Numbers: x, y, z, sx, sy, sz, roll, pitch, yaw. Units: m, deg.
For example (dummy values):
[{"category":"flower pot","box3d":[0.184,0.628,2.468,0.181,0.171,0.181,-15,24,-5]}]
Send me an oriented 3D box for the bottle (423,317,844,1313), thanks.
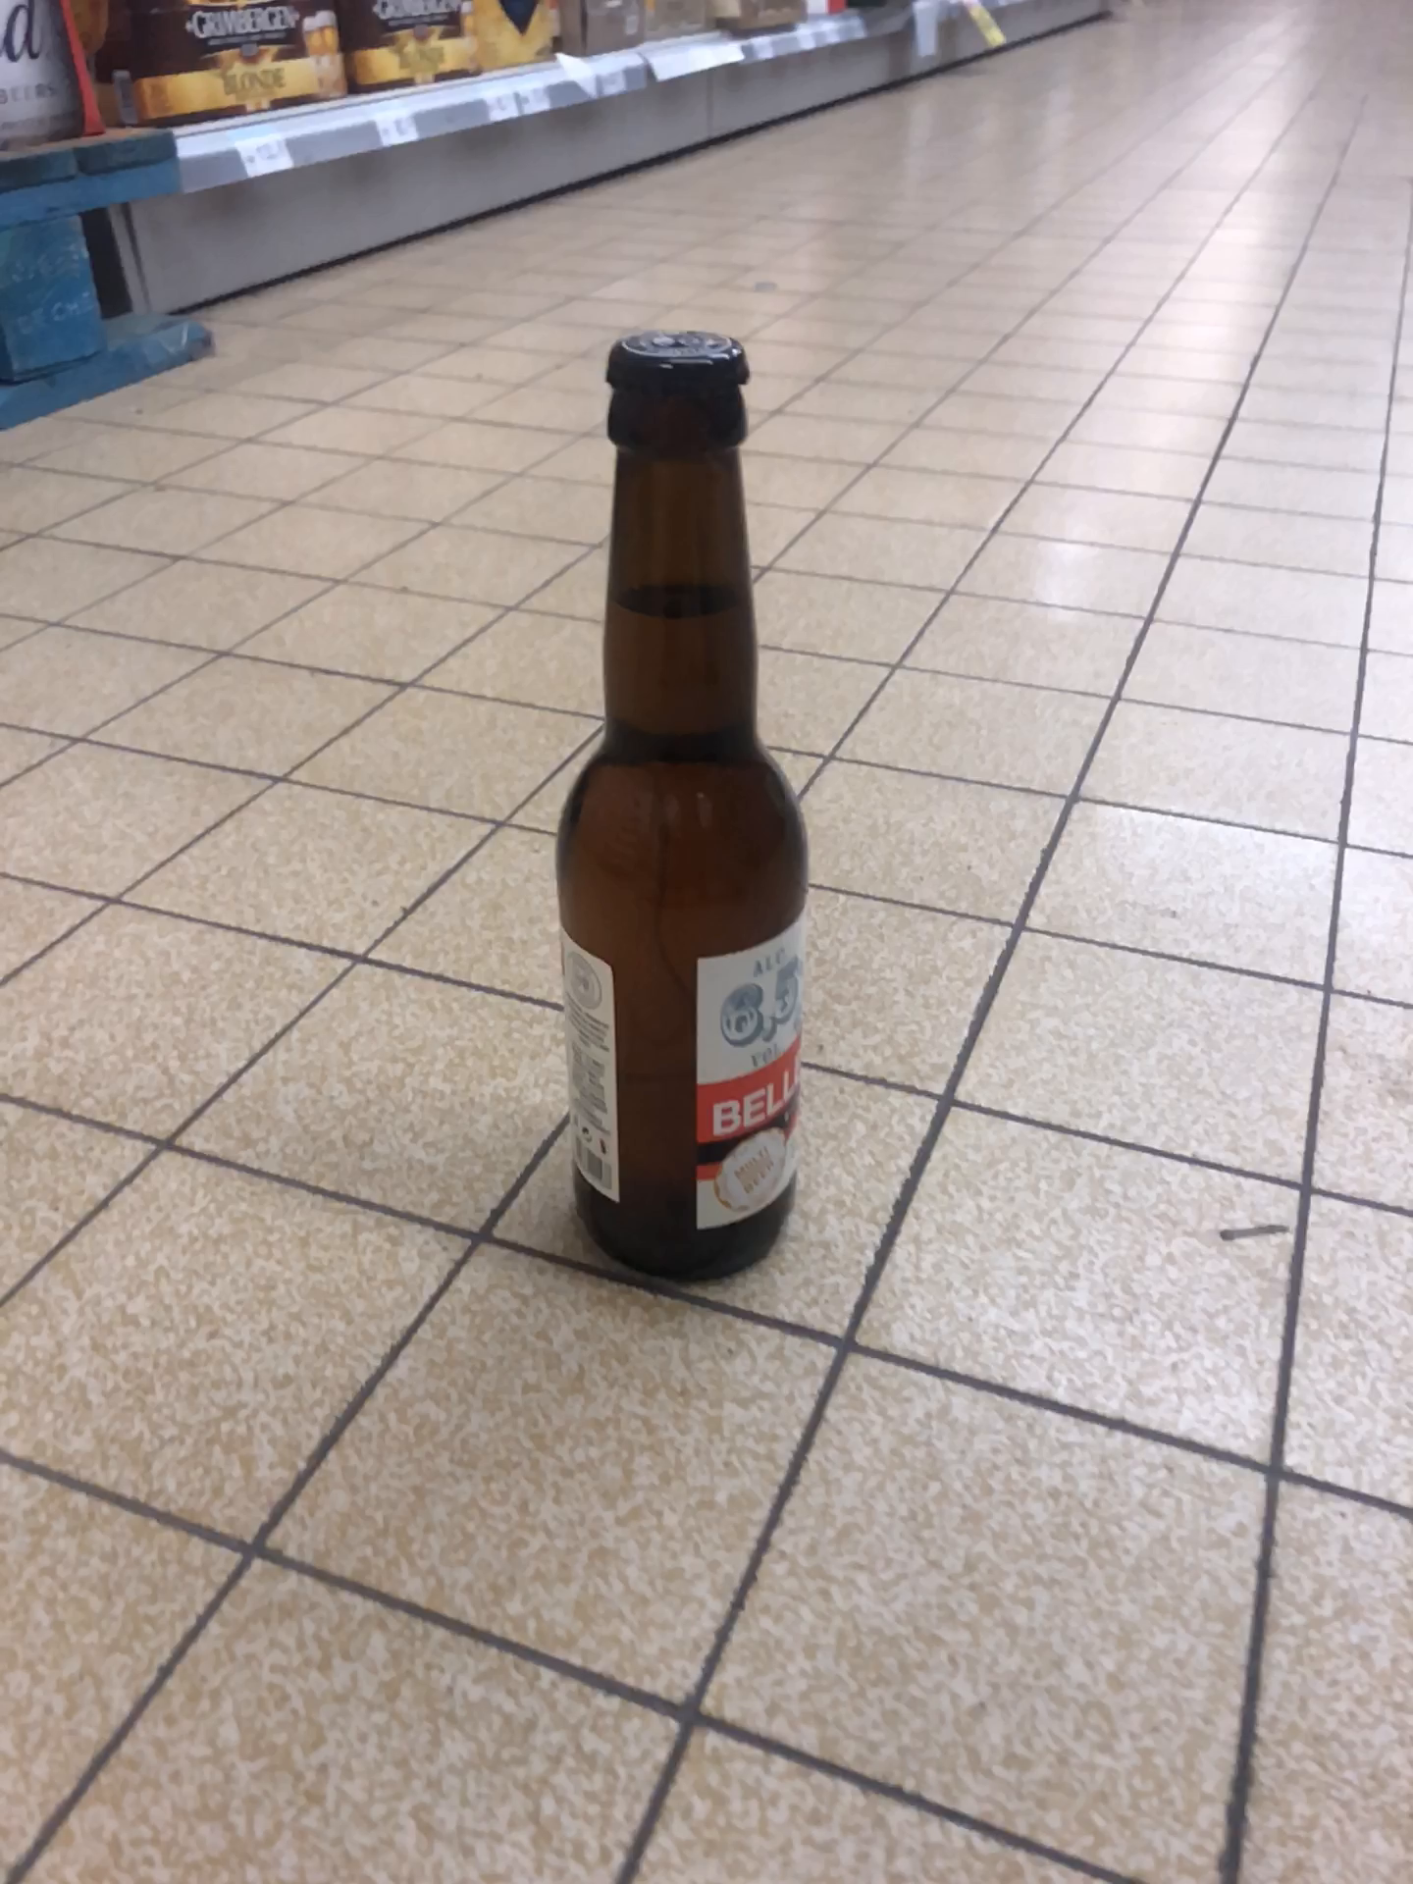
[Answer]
[{"category":"bottle","box3d":[-0.010,-0.019,0.354,0.070,0.219,0.060,4,33,7]}]
